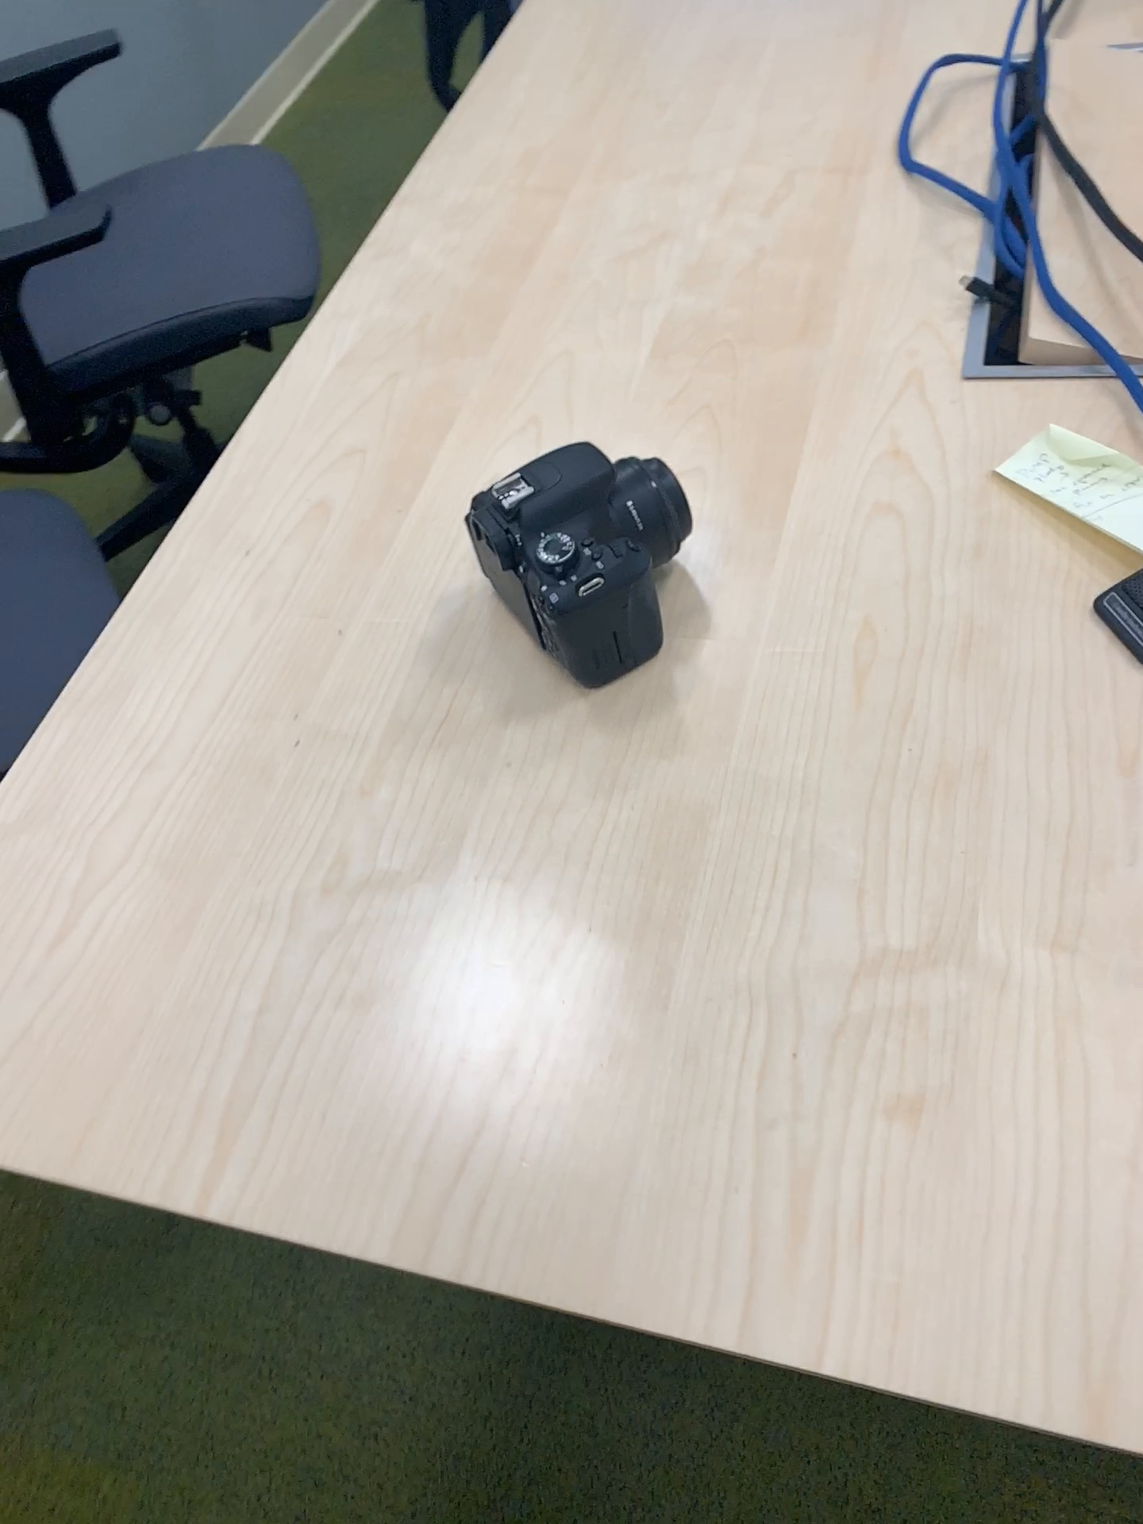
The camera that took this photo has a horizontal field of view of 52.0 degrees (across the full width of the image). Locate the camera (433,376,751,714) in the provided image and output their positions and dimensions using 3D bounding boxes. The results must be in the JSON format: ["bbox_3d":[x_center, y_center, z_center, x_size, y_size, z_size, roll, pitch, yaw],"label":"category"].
[{"bbox_3d":[0.013,-0.132,0.701,0.123,0.100,0.141,-29,51,-10],"label":"camera"}]
